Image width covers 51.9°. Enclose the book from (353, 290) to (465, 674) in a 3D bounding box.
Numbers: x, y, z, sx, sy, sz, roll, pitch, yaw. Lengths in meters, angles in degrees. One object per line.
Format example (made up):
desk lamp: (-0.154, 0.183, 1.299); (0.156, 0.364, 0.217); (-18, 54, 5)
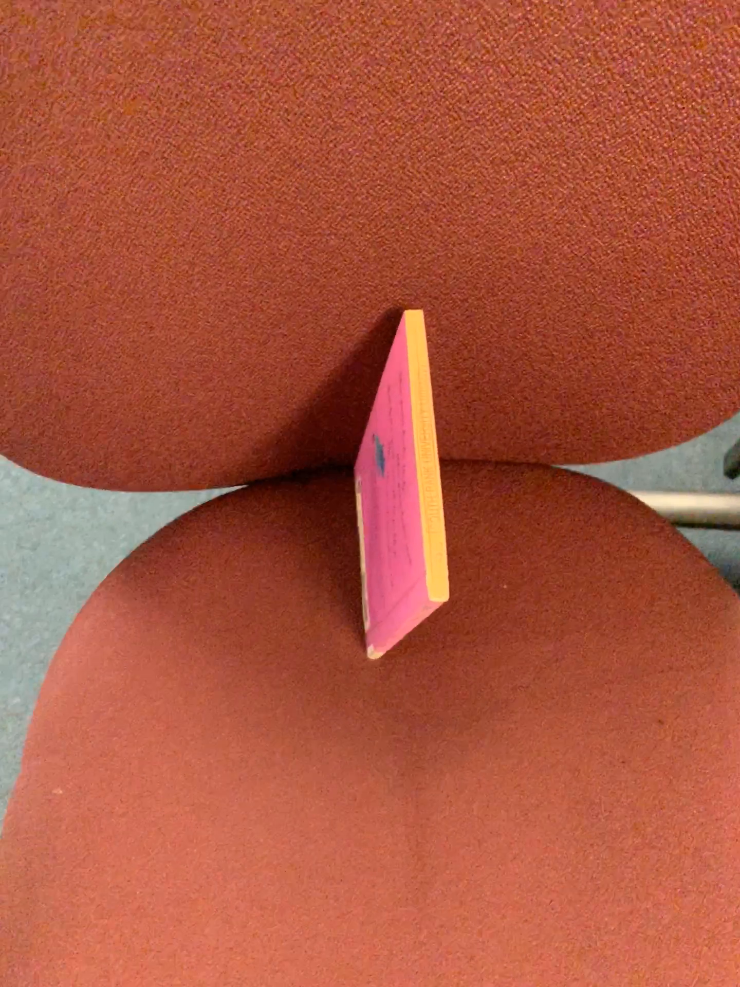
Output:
book: (0.012, 0.010, 0.396); (0.017, 0.190, 0.141); (-1, 70, -7)
